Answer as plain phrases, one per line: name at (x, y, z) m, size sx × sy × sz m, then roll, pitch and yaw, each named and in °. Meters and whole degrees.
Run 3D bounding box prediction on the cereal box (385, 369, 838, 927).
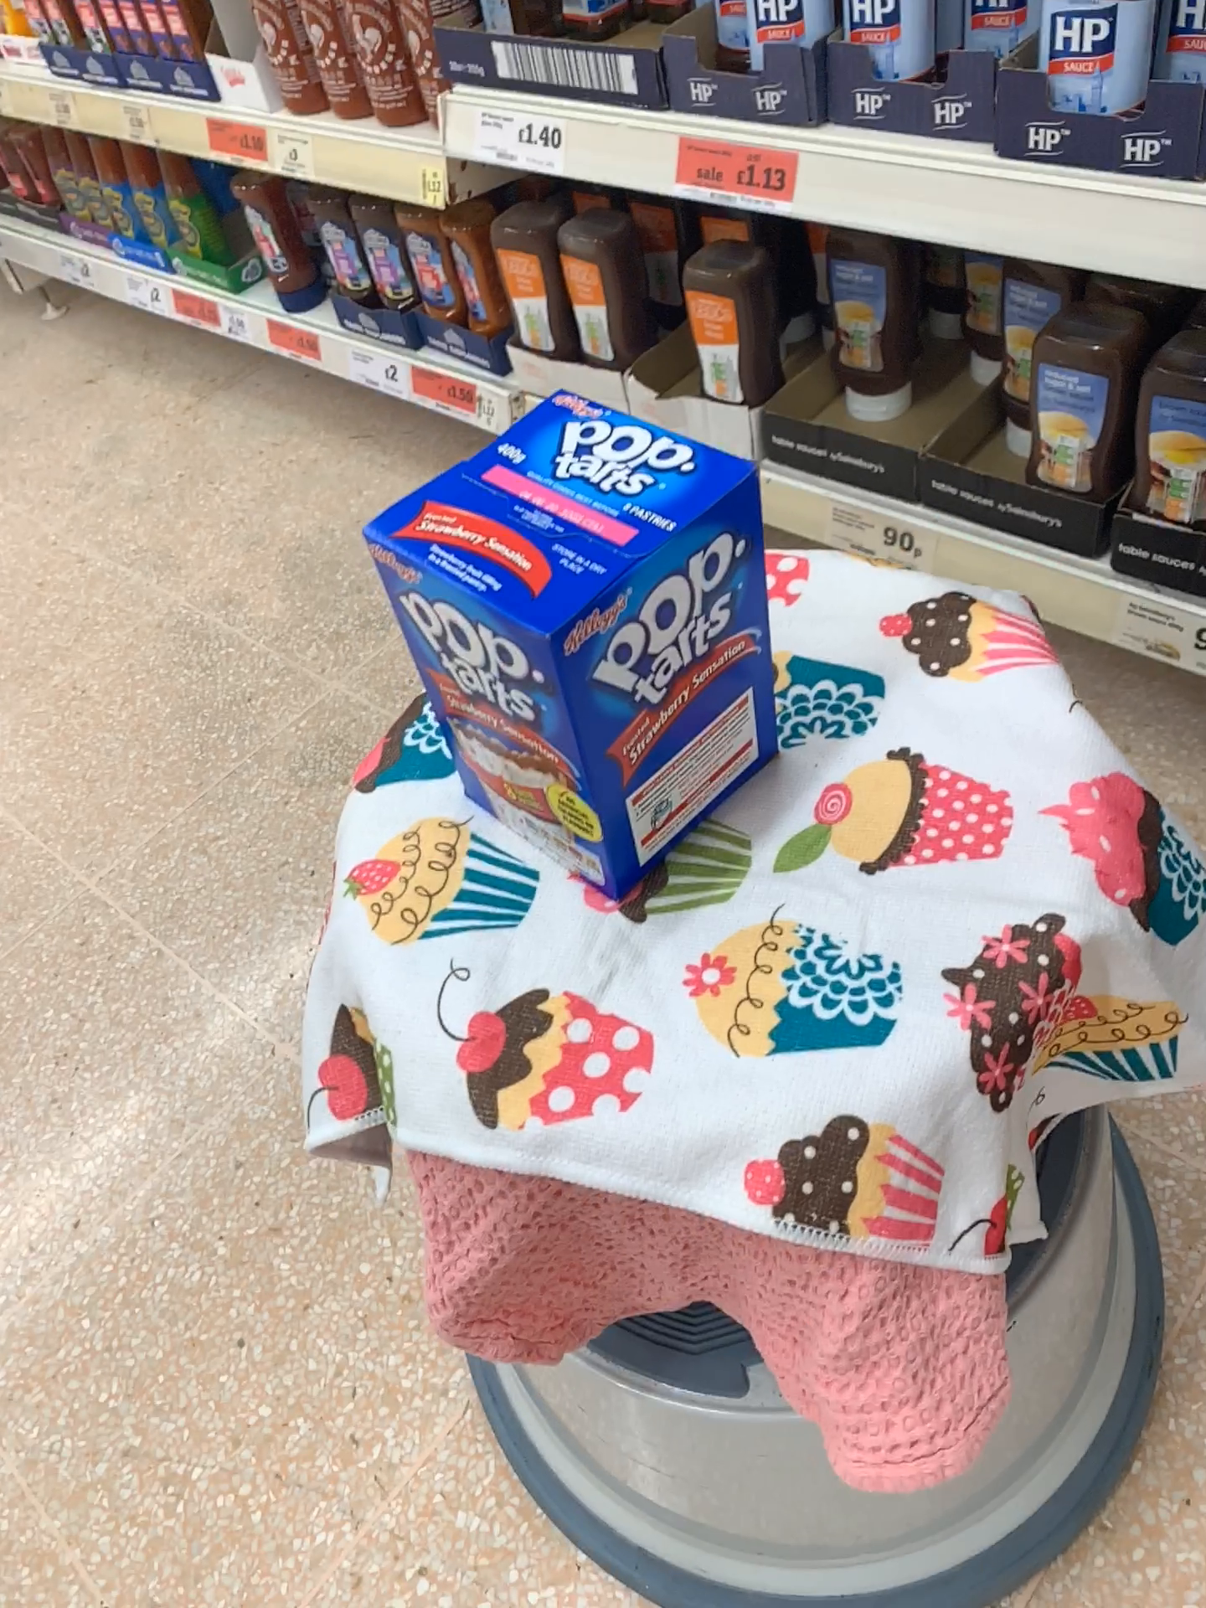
cereal box at (0.011, -0.053, 0.430) m, size 0.100 × 0.139 × 0.091 m, roll -41°, pitch 51°, yaw -21°
